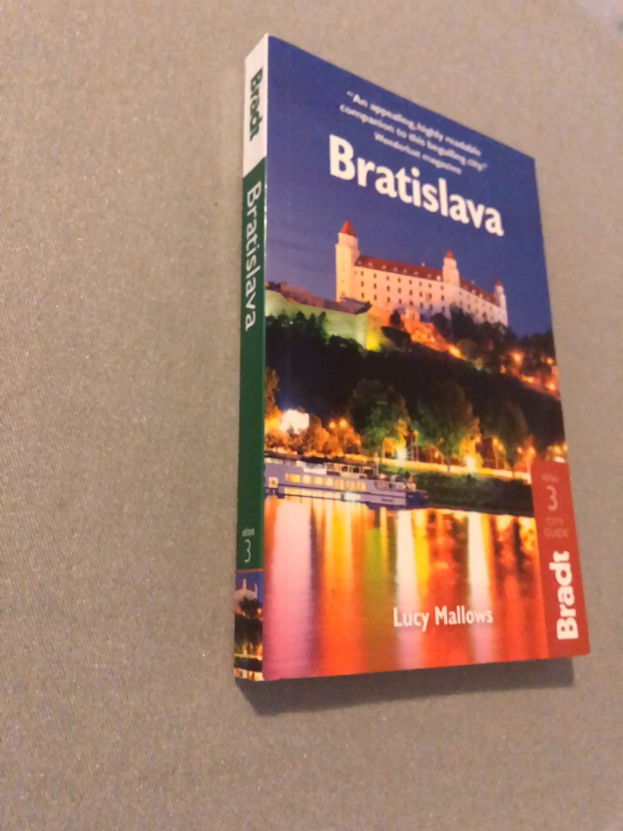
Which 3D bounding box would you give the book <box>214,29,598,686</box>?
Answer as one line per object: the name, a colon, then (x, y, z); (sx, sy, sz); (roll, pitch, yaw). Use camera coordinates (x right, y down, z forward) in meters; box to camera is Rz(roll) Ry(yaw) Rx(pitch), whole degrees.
book: (0.038, -0.019, 0.256); (0.141, 0.020, 0.210); (8, 74, -29)
